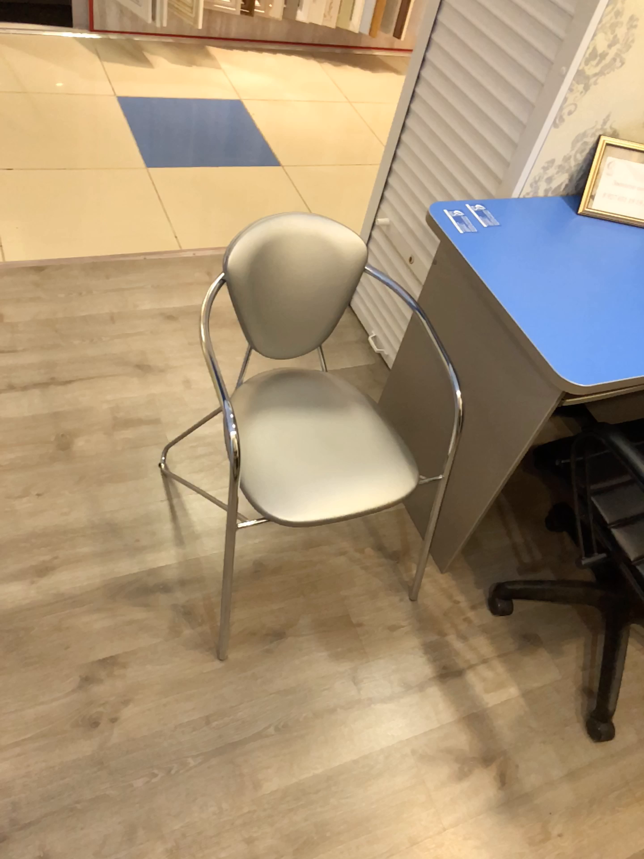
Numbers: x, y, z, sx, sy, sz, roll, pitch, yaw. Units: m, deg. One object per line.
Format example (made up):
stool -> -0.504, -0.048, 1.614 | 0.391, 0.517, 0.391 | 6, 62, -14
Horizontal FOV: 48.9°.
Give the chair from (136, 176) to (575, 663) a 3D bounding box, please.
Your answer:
chair -> -0.028, -0.041, 1.658 | 0.611, 0.746, 0.732 | -12, 53, -25
